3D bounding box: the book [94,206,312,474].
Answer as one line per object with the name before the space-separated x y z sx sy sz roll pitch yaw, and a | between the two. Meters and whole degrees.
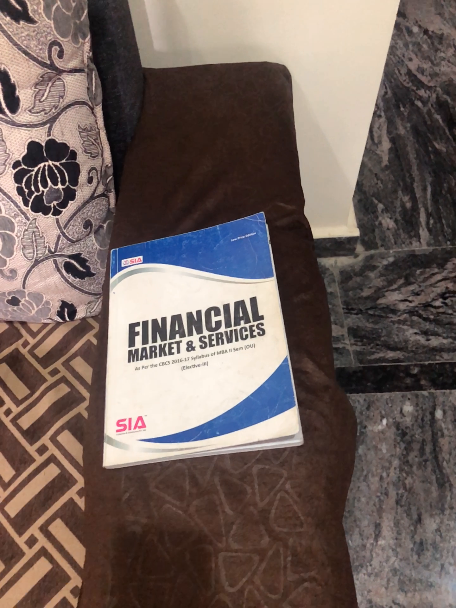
book | -0.039 0.030 0.587 0.220 0.040 0.290 -11 59 7
